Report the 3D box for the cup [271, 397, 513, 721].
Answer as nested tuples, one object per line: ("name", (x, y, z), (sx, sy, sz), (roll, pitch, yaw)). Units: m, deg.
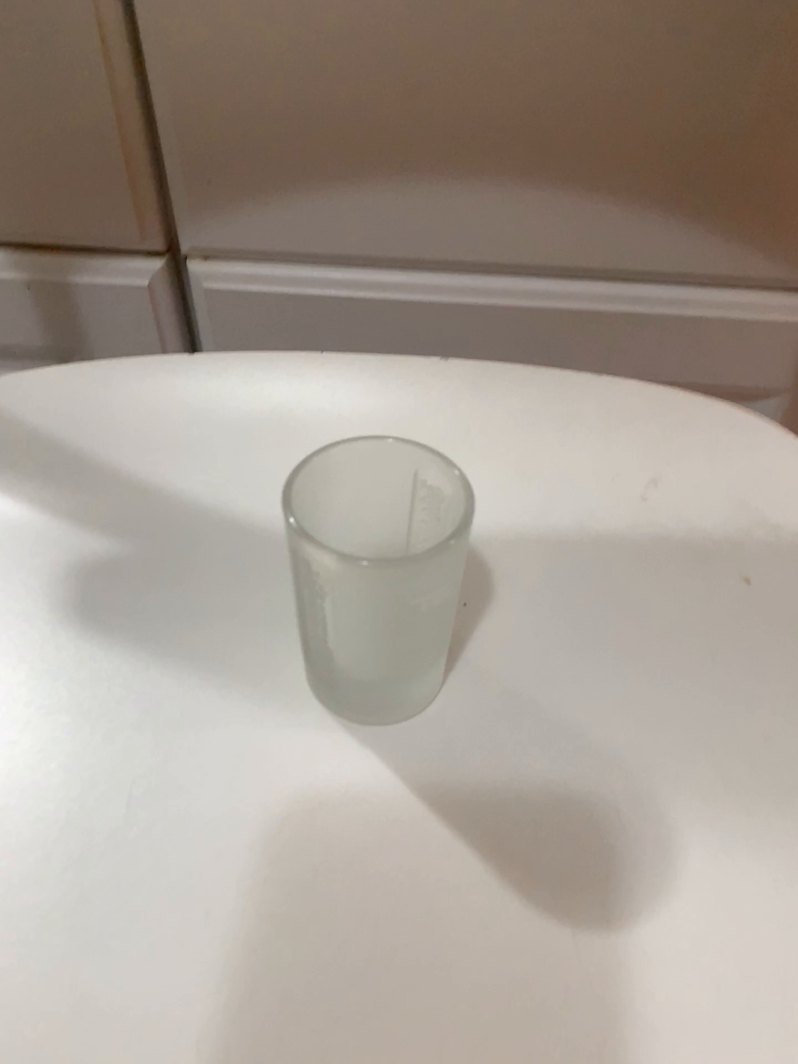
("cup", (-0.002, 0.010, 0.209), (0.049, 0.076, 0.042), (1, 47, 0))
